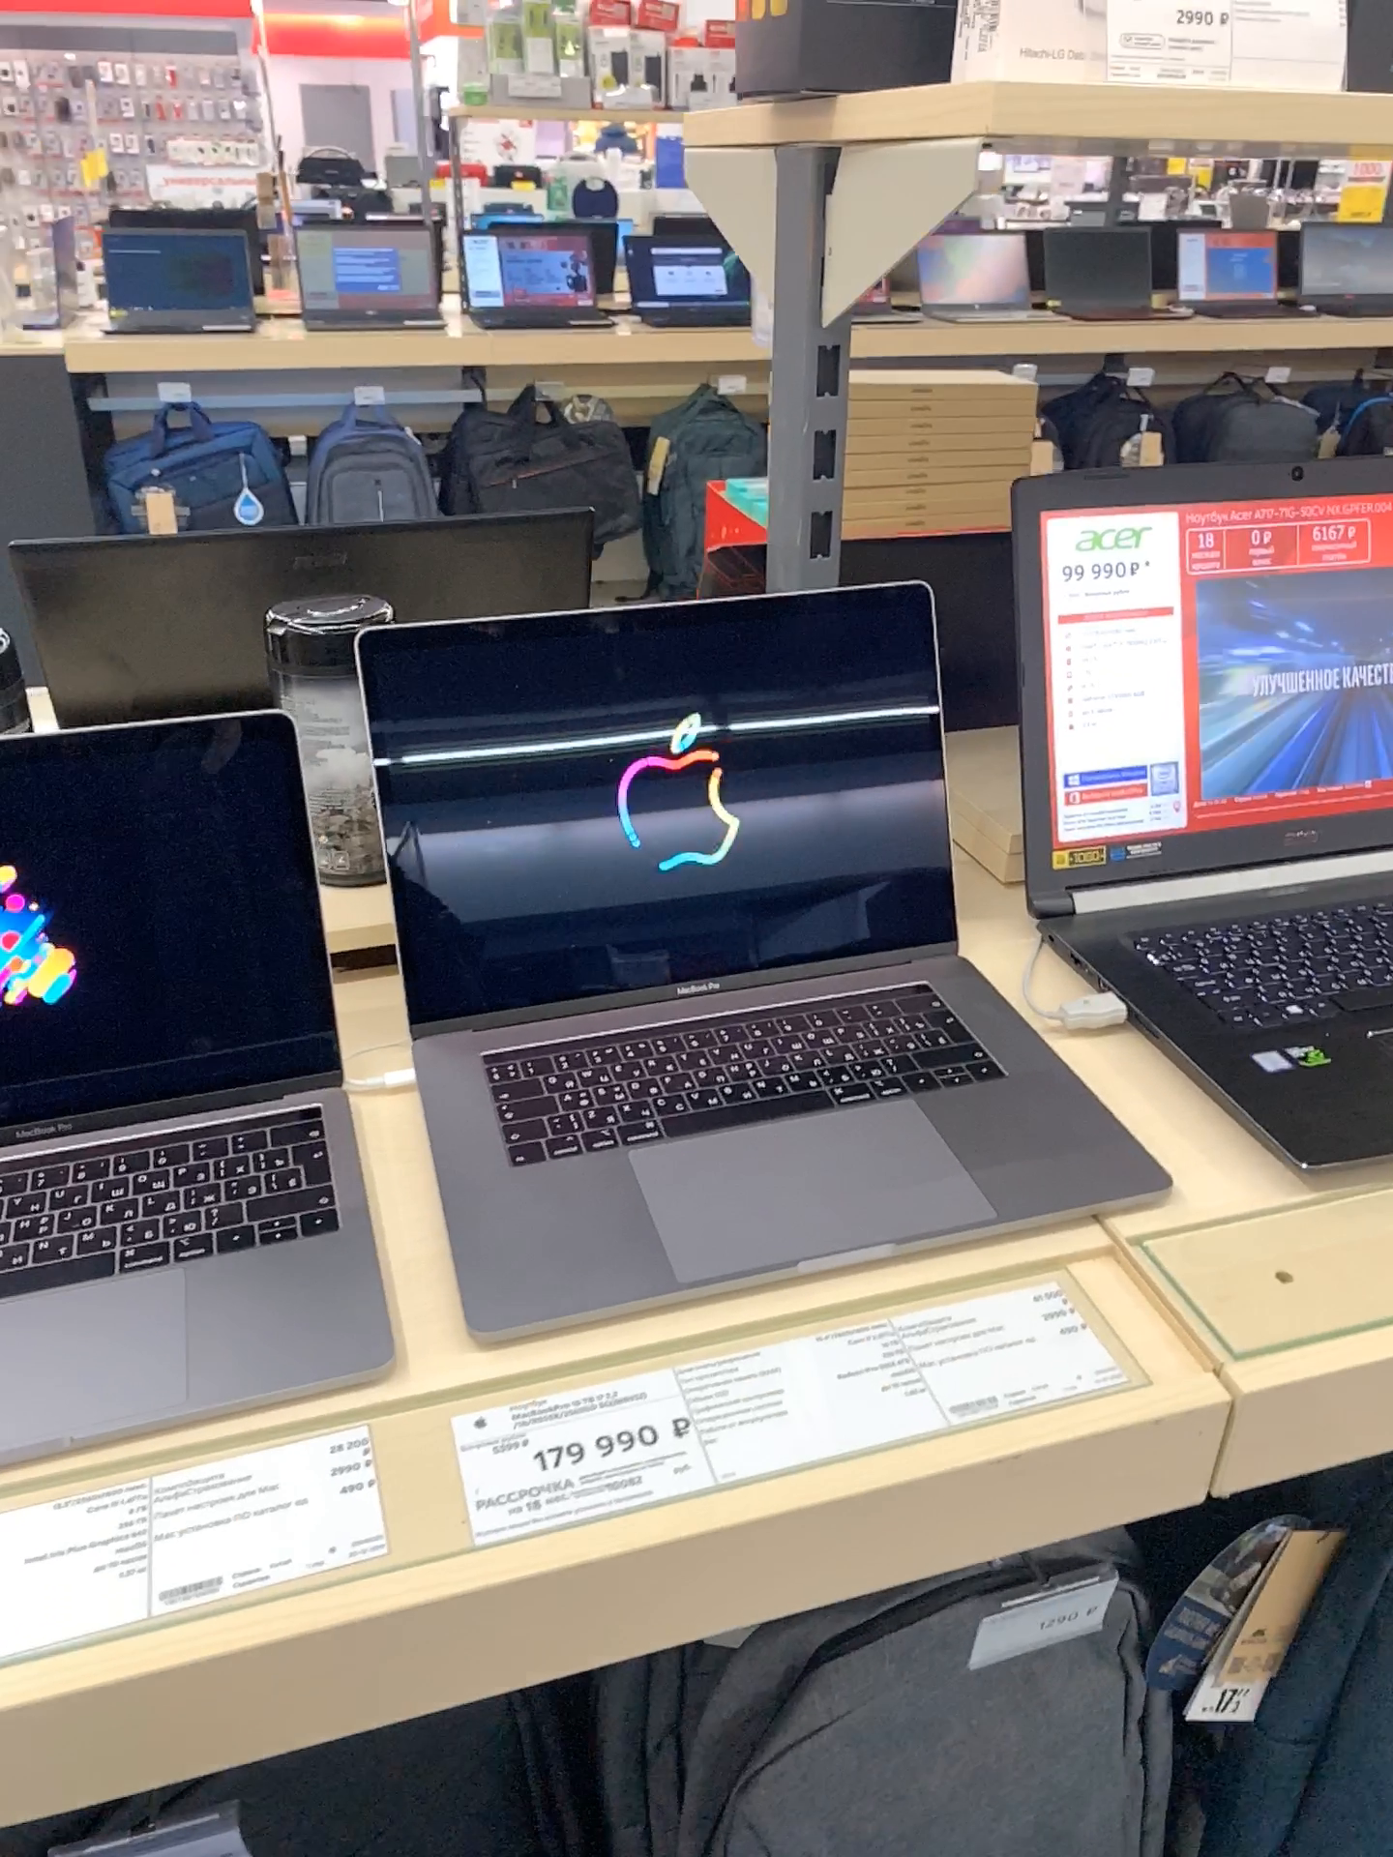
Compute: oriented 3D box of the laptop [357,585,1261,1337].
[{"bbox_3d":[0.024,-0.018,0.741,0.345,0.210,0.326,-8,30,-15],"label":"laptop"}]
